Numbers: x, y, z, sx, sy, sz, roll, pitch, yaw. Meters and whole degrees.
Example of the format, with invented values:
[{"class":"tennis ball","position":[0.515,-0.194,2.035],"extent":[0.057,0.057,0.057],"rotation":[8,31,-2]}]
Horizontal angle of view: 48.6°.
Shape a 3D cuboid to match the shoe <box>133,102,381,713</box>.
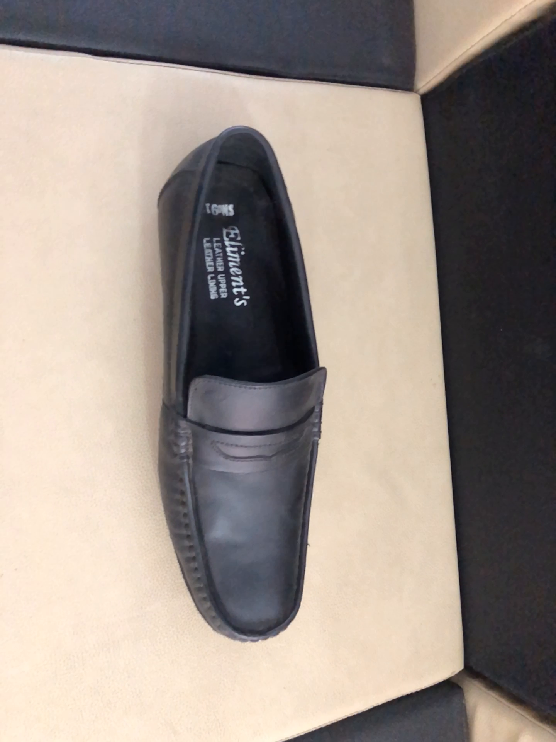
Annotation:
[{"class":"shoe","position":[-0.015,0.016,0.349],"extent":[0.100,0.080,0.290],"rotation":[-3,90,-24]}]
